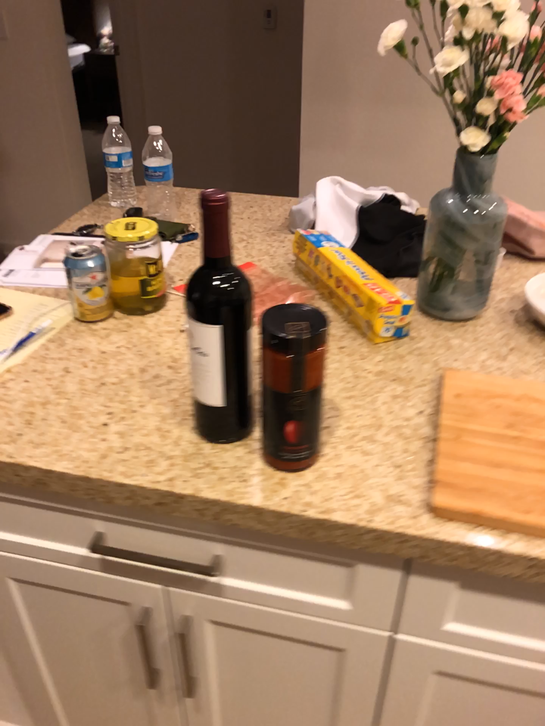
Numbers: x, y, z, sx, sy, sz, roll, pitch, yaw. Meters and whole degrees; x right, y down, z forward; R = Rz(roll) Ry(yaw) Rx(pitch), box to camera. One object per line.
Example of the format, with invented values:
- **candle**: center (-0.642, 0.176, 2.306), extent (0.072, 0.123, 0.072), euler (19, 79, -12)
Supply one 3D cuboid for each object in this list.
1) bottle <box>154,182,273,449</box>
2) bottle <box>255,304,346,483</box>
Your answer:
- **bottle**: center (-0.061, -0.048, 0.682), extent (0.110, 0.278, 0.111), euler (0, 33, 0)
- **bottle**: center (0.029, 0.036, 0.677), extent (0.090, 0.179, 0.091), euler (0, 33, 0)
